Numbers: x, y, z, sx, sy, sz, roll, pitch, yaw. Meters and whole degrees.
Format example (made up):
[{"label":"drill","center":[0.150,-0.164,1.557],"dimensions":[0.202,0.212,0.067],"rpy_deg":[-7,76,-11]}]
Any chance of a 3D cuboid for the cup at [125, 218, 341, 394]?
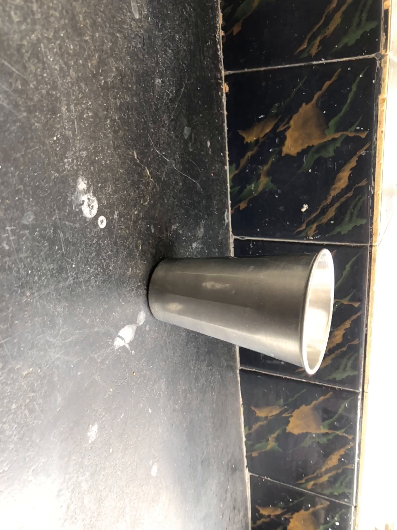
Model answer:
[{"label":"cup","center":[0.029,0.023,0.304],"dimensions":[0.070,0.119,0.080],"rpy_deg":[-59,144,-42]}]
